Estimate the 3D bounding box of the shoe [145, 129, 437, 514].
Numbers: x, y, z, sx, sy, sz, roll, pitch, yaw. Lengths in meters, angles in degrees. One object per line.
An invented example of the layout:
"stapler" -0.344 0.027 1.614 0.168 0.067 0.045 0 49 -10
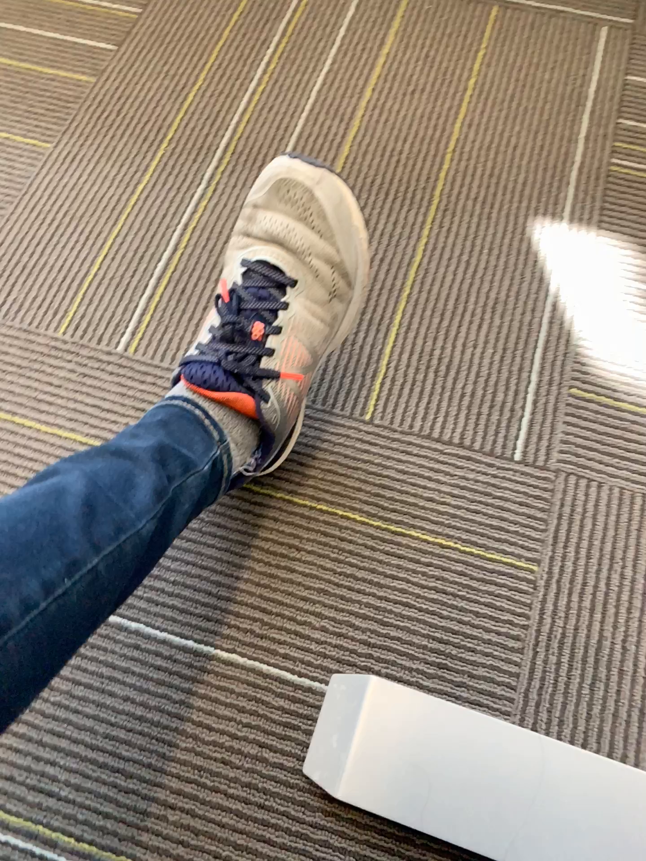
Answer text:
"shoe" -0.022 -0.078 0.500 0.120 0.110 0.230 25 106 12
